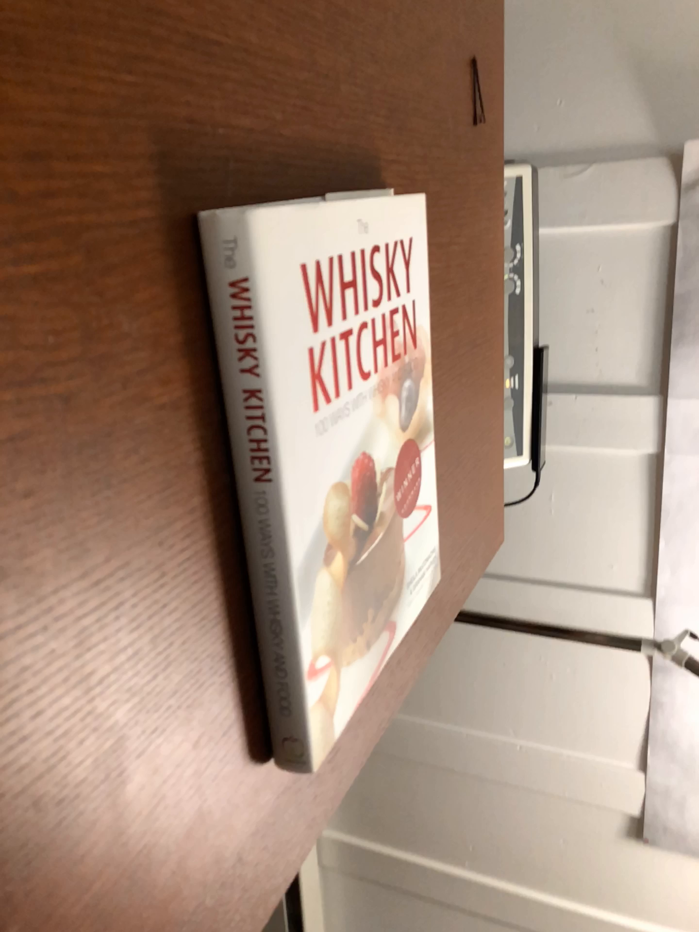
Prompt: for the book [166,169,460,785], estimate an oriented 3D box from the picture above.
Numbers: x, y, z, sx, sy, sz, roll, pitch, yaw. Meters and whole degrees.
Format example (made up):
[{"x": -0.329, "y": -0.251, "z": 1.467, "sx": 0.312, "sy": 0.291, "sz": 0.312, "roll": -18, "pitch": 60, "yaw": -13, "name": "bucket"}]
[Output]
[{"x": 0.005, "y": -0.015, "z": 0.416, "sx": 0.221, "sy": 0.040, "sz": 0.270, "roll": -40, "pitch": 129, "yaw": -58, "name": "book"}]
